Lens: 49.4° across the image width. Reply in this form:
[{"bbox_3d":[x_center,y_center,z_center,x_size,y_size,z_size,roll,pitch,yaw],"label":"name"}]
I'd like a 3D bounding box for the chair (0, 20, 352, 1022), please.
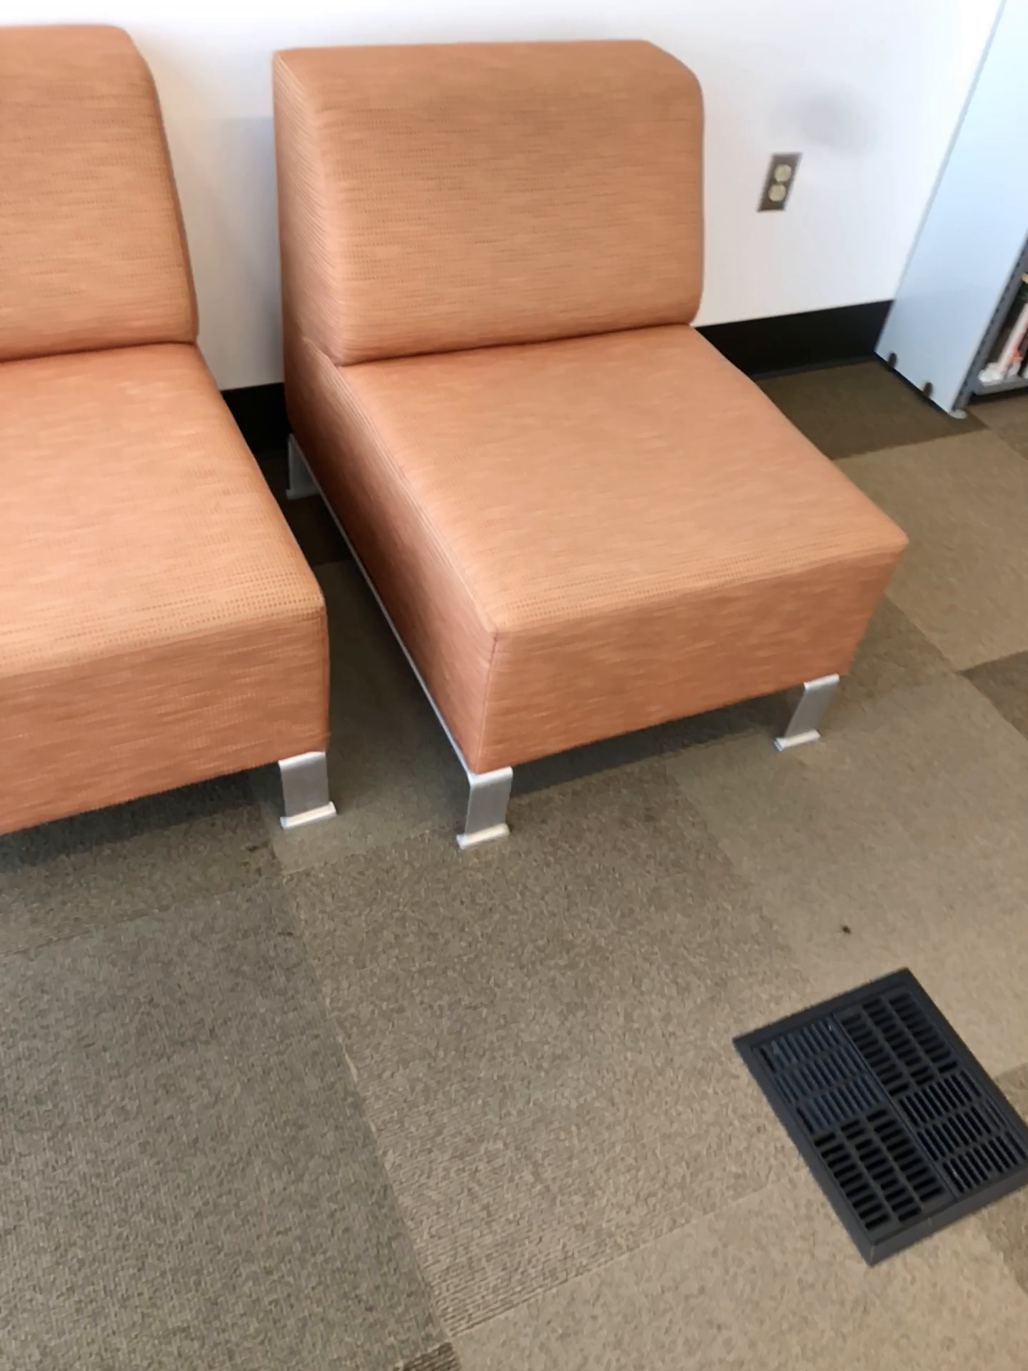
[{"bbox_3d":[-0.740,-0.281,1.499,0.765,0.809,0.935,-15,50,-21],"label":"chair"}]

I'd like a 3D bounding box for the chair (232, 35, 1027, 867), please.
[{"bbox_3d":[0.066,-0.405,1.696,0.695,0.759,0.925,-14,49,-21],"label":"chair"}]
